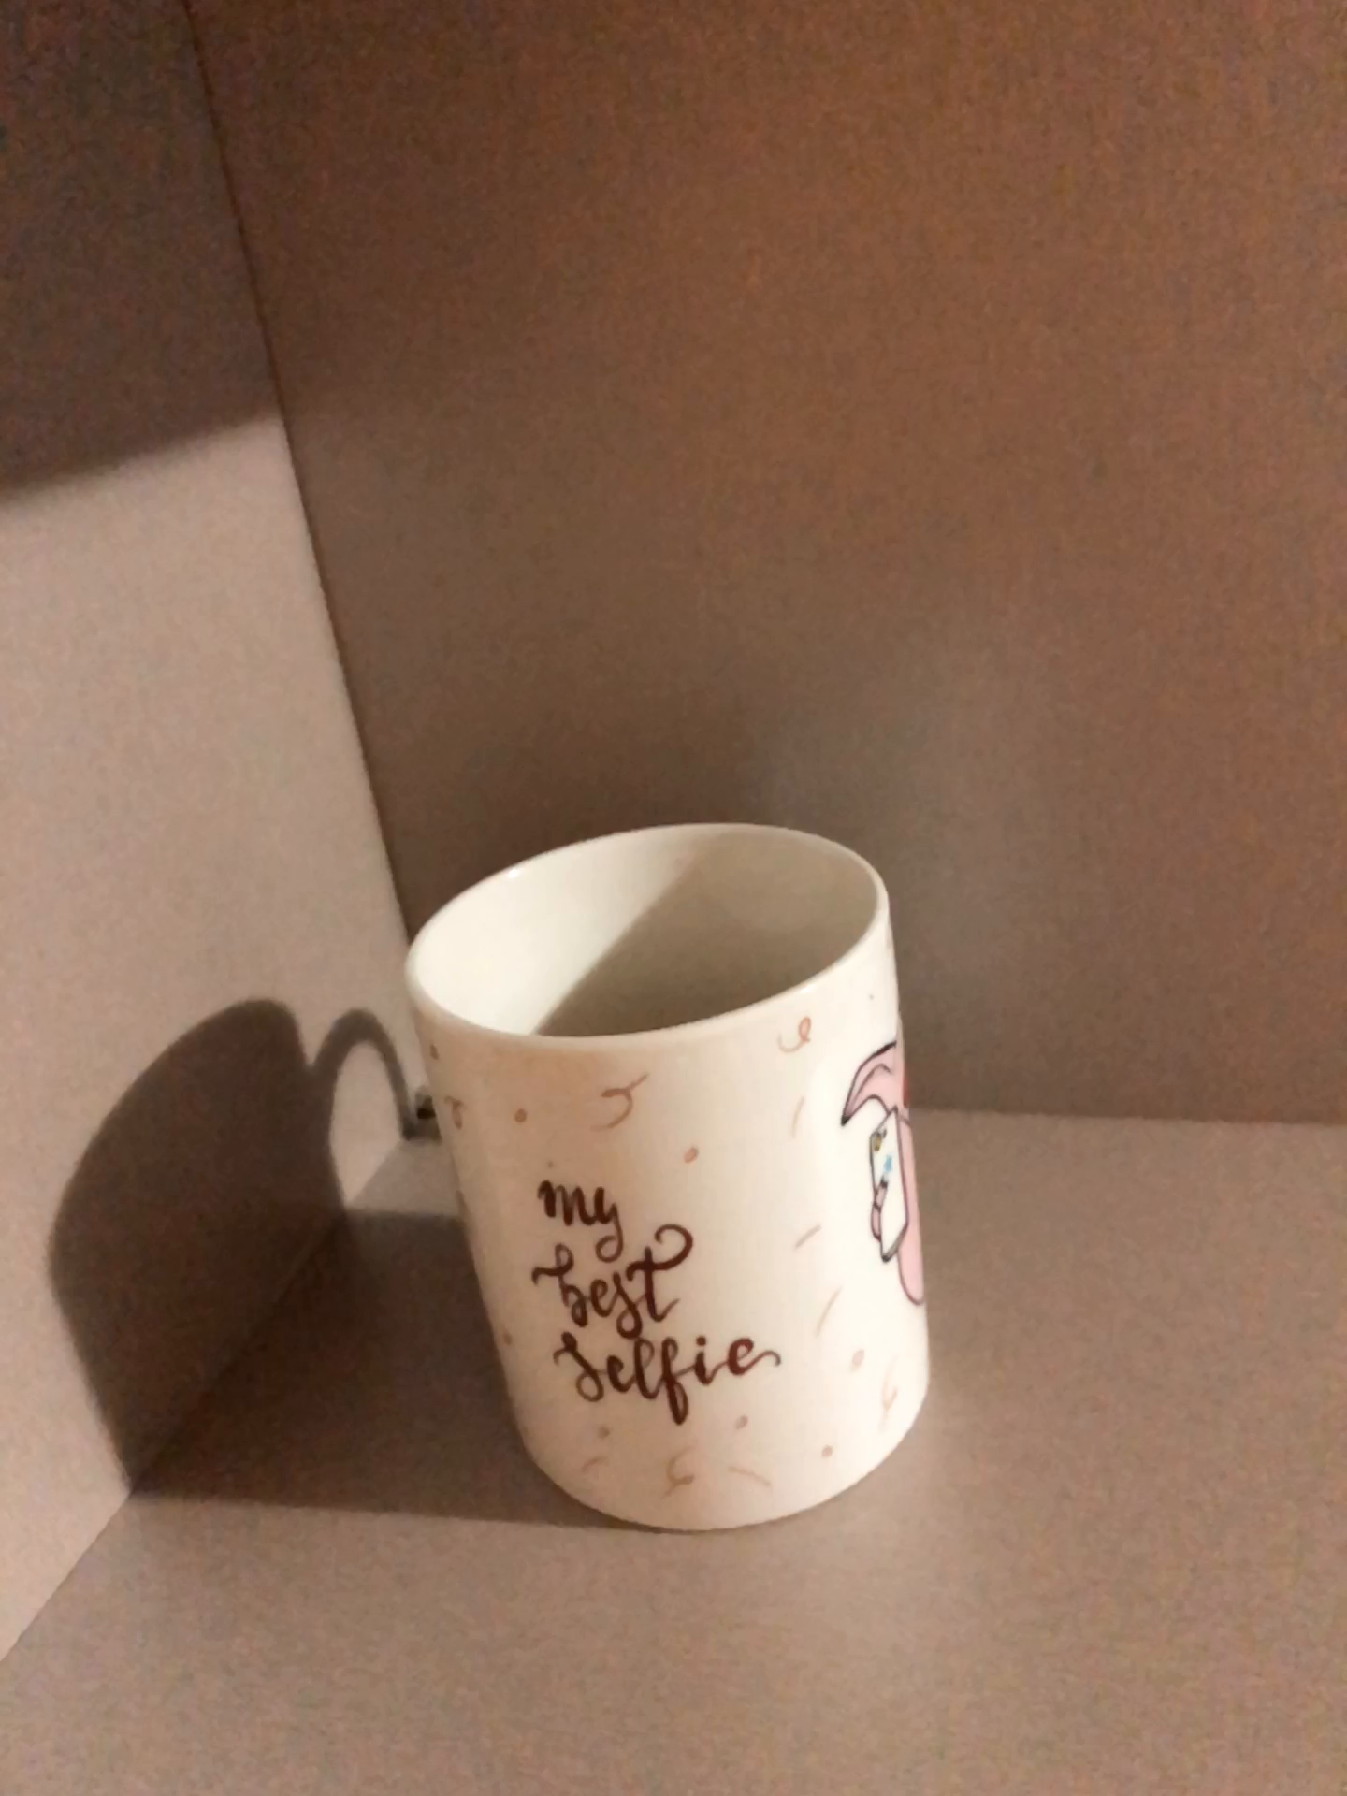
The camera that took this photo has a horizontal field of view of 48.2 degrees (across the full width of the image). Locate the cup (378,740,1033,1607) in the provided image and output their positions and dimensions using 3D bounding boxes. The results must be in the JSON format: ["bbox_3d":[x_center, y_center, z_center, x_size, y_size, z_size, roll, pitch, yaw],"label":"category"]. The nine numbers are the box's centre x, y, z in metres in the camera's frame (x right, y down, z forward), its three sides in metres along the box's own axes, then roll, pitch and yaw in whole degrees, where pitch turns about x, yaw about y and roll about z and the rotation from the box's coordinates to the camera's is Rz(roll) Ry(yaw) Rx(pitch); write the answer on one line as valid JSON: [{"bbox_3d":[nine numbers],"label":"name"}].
[{"bbox_3d":[0.005,0.041,0.279,0.086,0.096,0.119,-9,24,0],"label":"cup"}]
